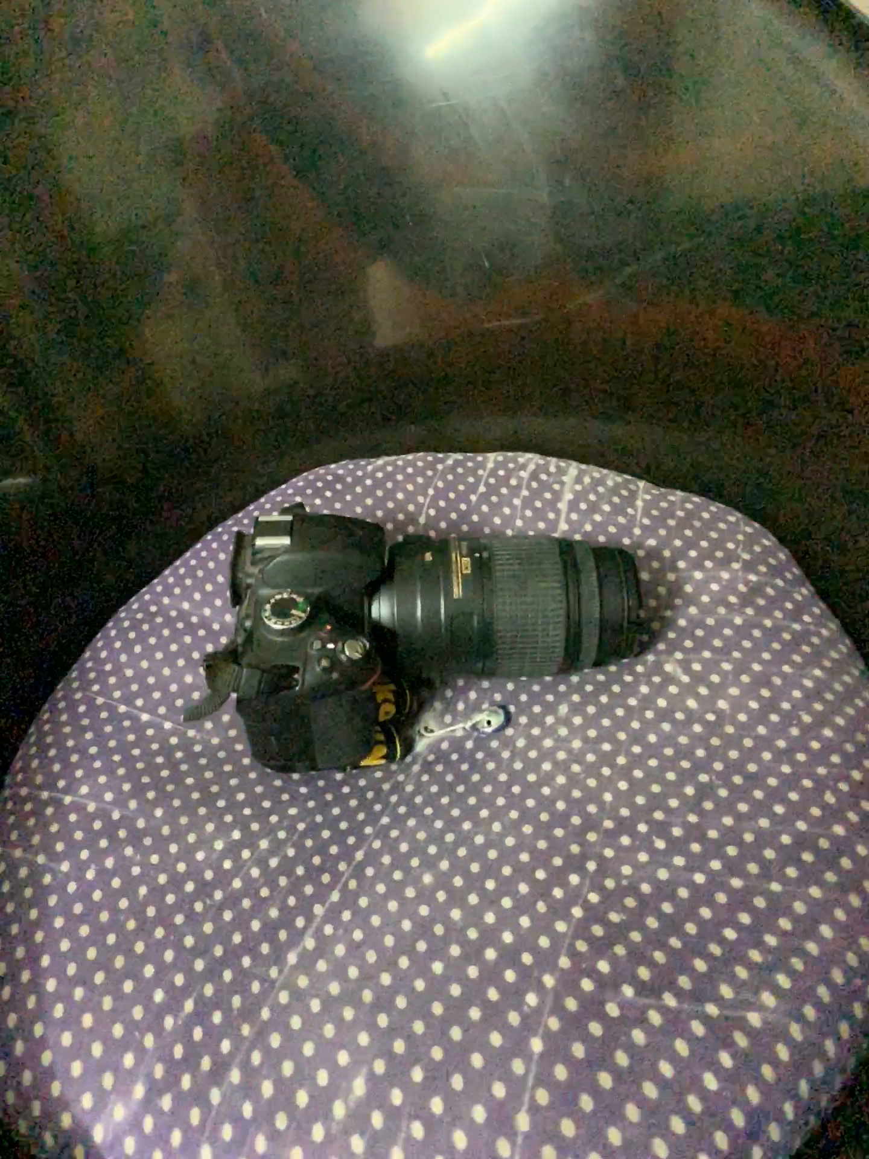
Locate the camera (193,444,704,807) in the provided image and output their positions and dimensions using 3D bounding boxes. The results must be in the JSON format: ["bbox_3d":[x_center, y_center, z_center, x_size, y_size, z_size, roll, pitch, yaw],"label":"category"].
[{"bbox_3d":[0.003,0.018,0.433,0.200,0.100,0.140,-2,42,-2],"label":"camera"}]
